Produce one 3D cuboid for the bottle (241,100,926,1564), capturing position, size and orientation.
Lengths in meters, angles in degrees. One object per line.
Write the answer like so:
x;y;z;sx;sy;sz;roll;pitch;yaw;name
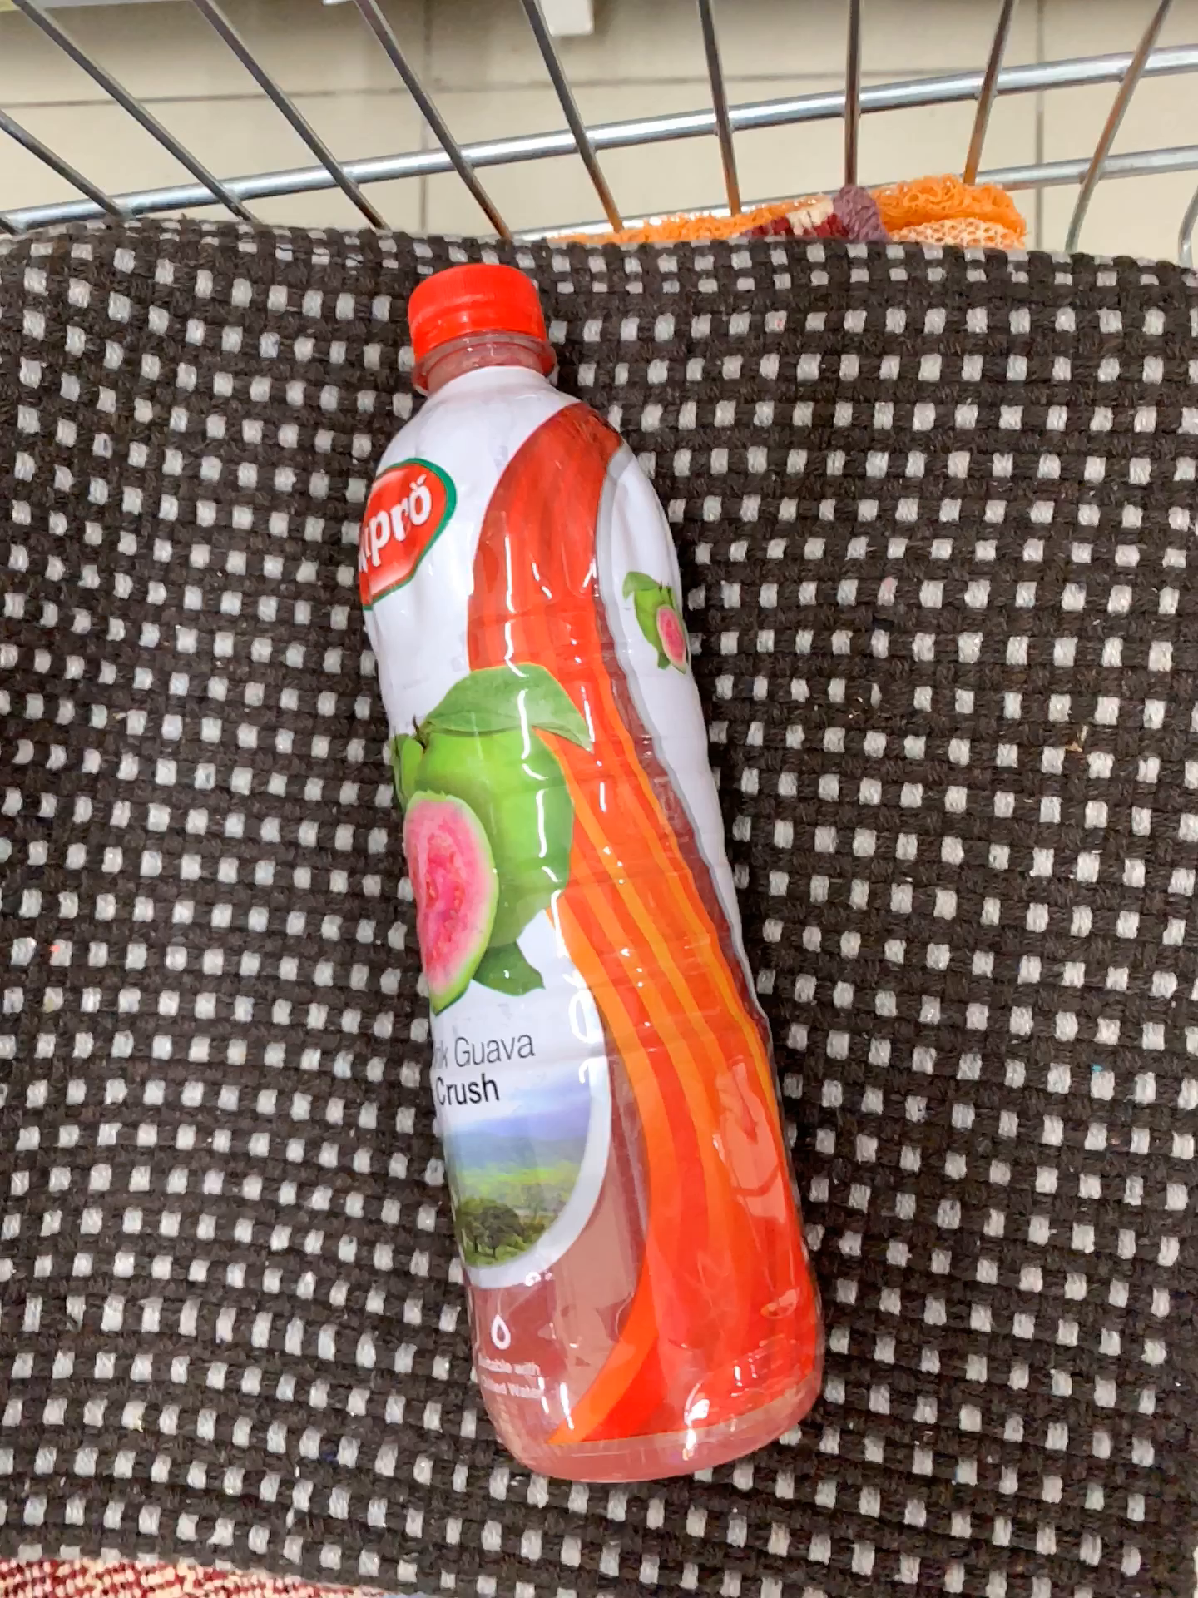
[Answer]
-0.010;0.001;0.247;0.070;0.070;0.240;-2;77;-38;bottle
